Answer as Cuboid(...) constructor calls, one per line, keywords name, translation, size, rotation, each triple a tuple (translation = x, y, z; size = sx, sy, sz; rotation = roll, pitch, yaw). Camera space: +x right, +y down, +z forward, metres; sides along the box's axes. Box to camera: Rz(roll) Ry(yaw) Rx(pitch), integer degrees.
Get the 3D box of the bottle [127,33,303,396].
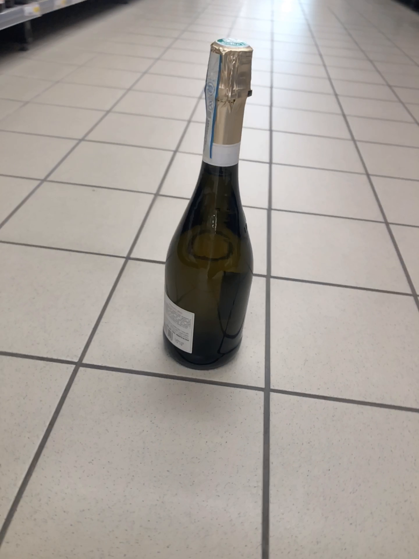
Cuboid(name="bottle", translation=(-0.011, -0.047, 0.428), size=(0.090, 0.308, 0.100), rotation=(-16, 41, -28))
